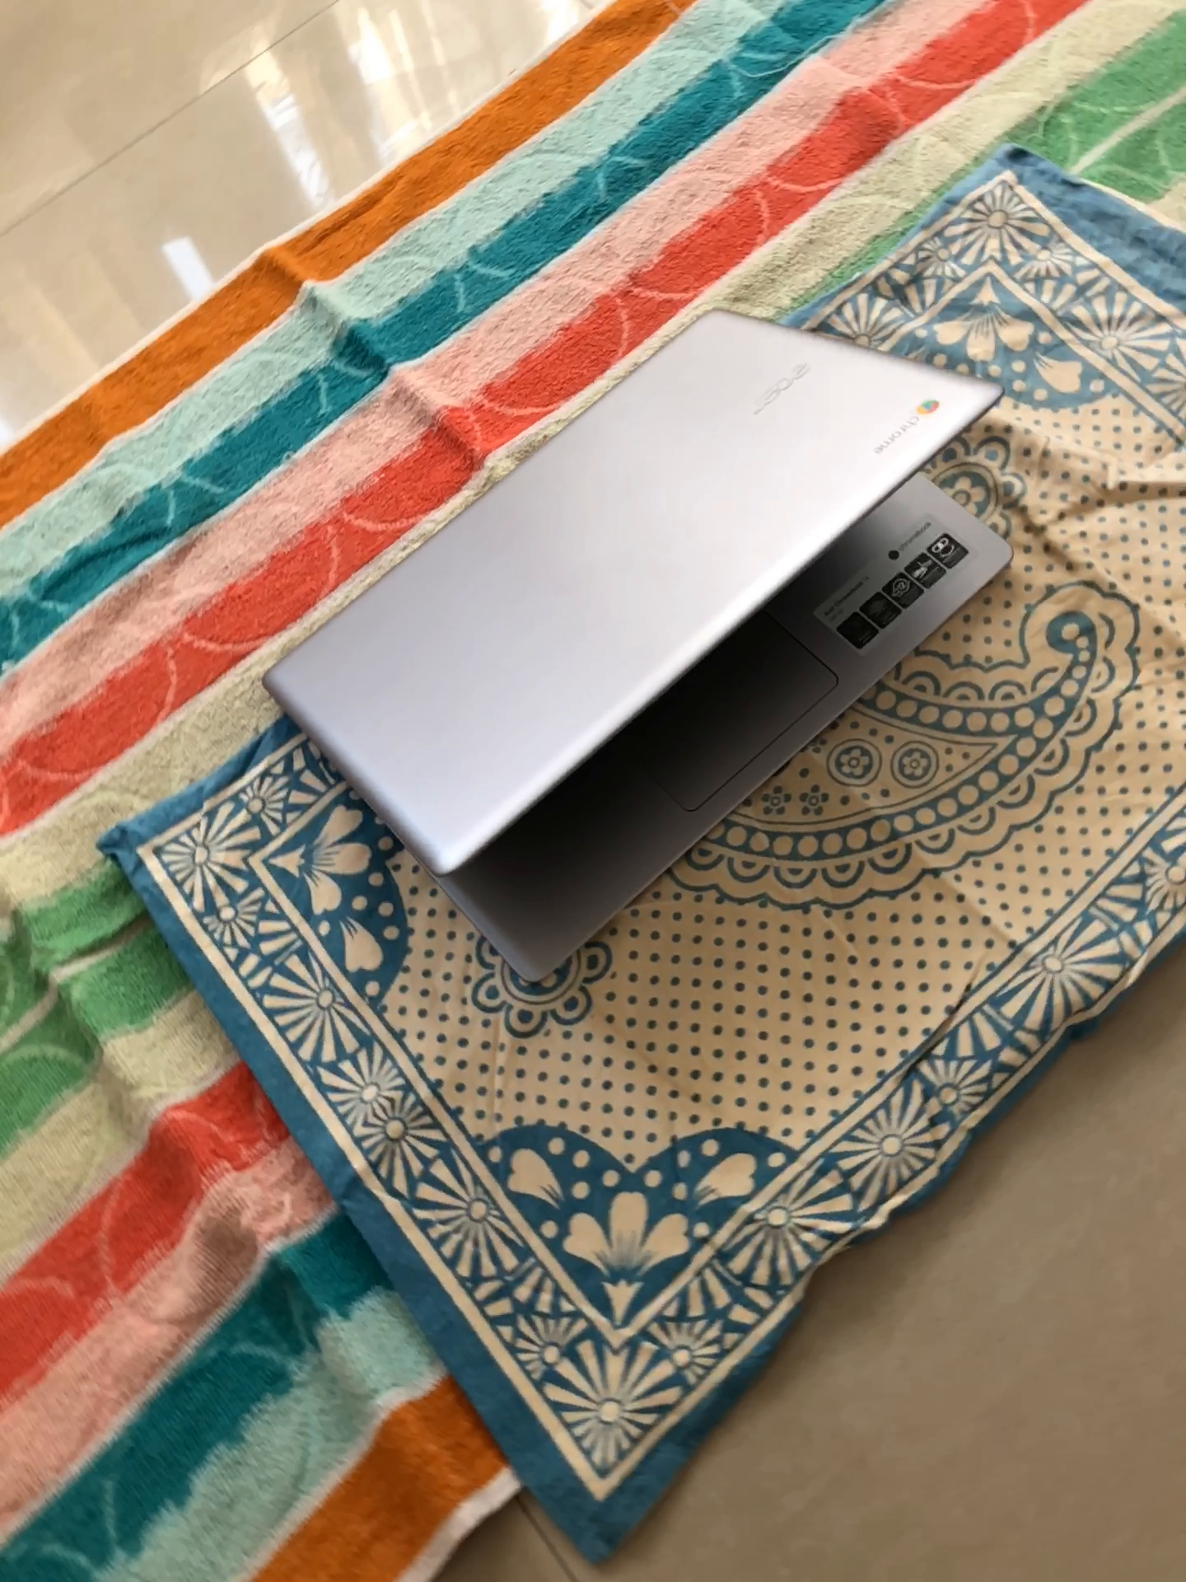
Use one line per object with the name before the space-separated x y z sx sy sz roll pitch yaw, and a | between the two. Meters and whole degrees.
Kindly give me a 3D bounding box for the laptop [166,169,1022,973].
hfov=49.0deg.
laptop | 0.003 -0.111 0.632 0.320 0.105 0.222 -41 70 -9
